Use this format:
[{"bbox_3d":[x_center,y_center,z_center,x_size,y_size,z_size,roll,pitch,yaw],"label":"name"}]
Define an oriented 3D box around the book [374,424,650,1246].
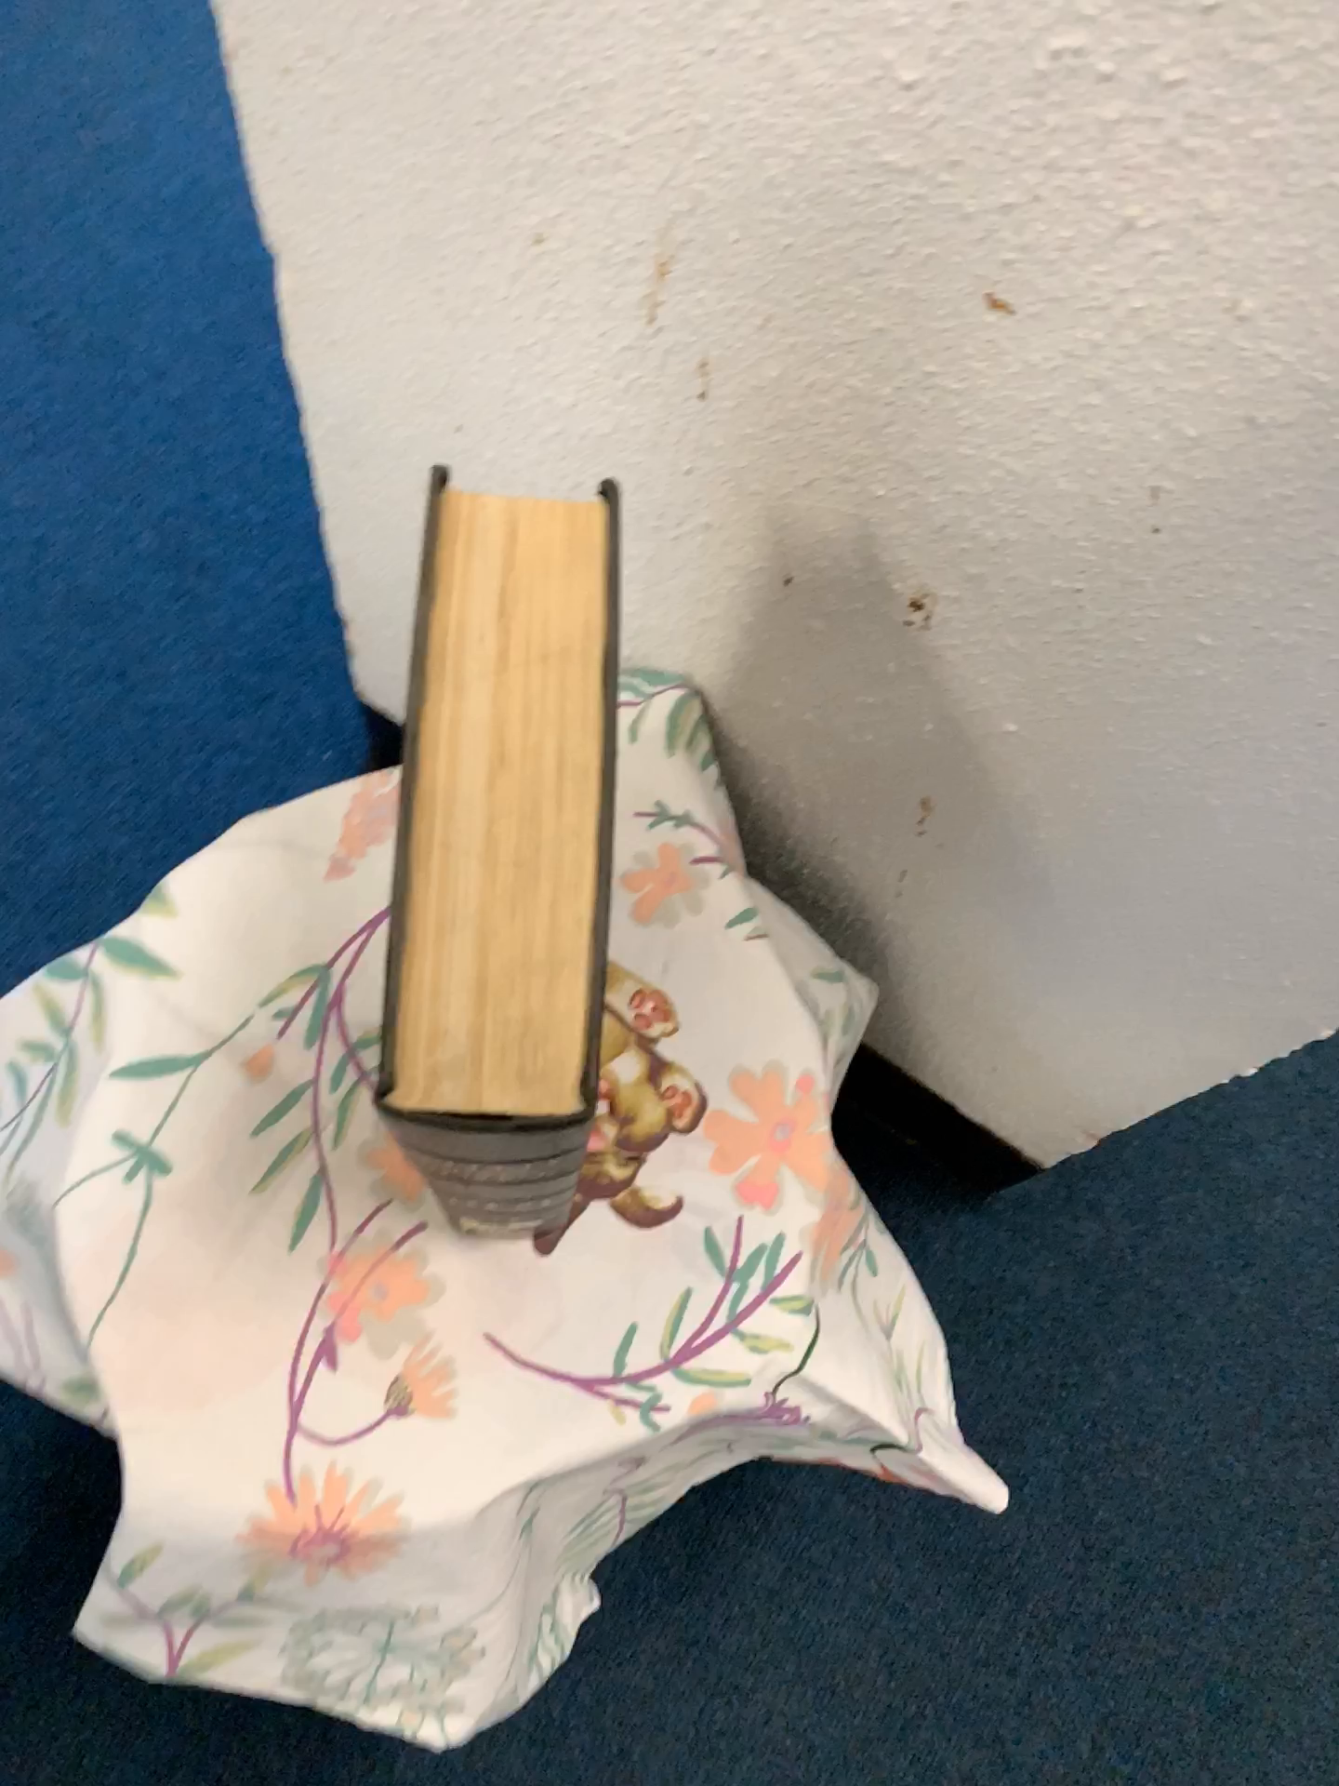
[{"bbox_3d":[-0.044,0.009,0.410,0.052,0.245,0.162,2,69,-6],"label":"book"}]
